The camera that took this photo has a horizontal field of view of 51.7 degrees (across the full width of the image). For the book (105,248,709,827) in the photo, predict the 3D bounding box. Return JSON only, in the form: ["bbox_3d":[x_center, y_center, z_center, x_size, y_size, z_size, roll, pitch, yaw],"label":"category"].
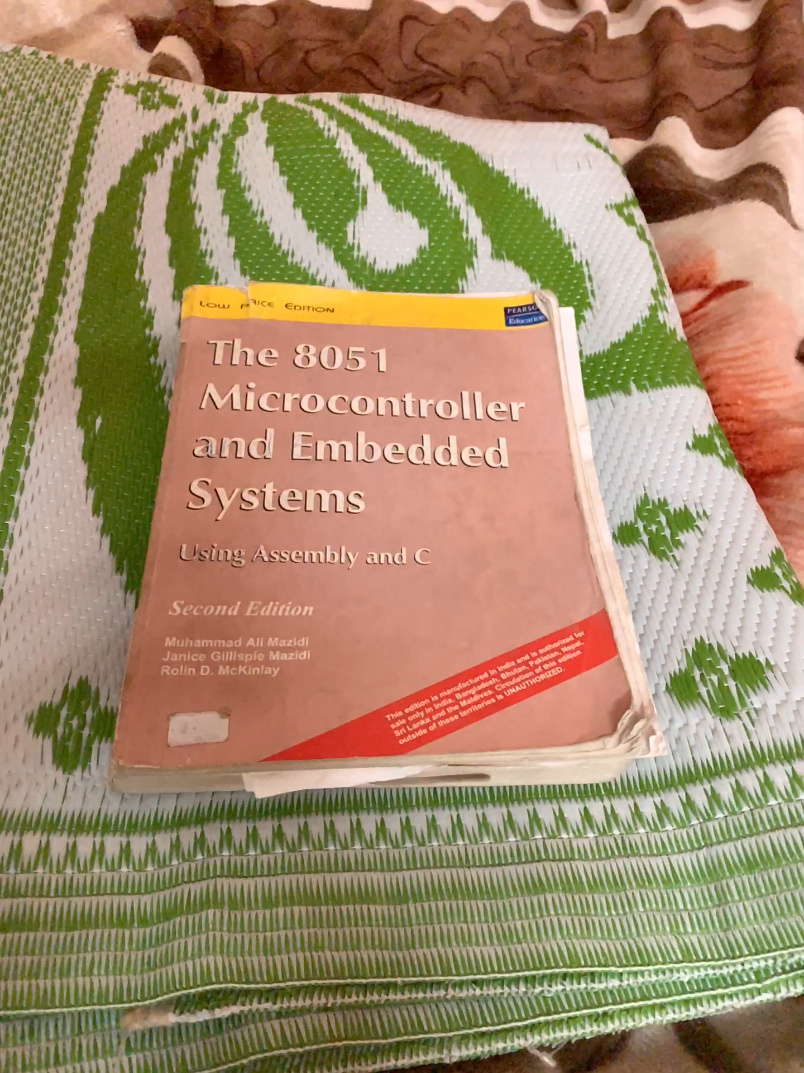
[{"bbox_3d":[-0.002,-0.020,0.415,0.230,0.050,0.302,-2,58,-1],"label":"book"}]
